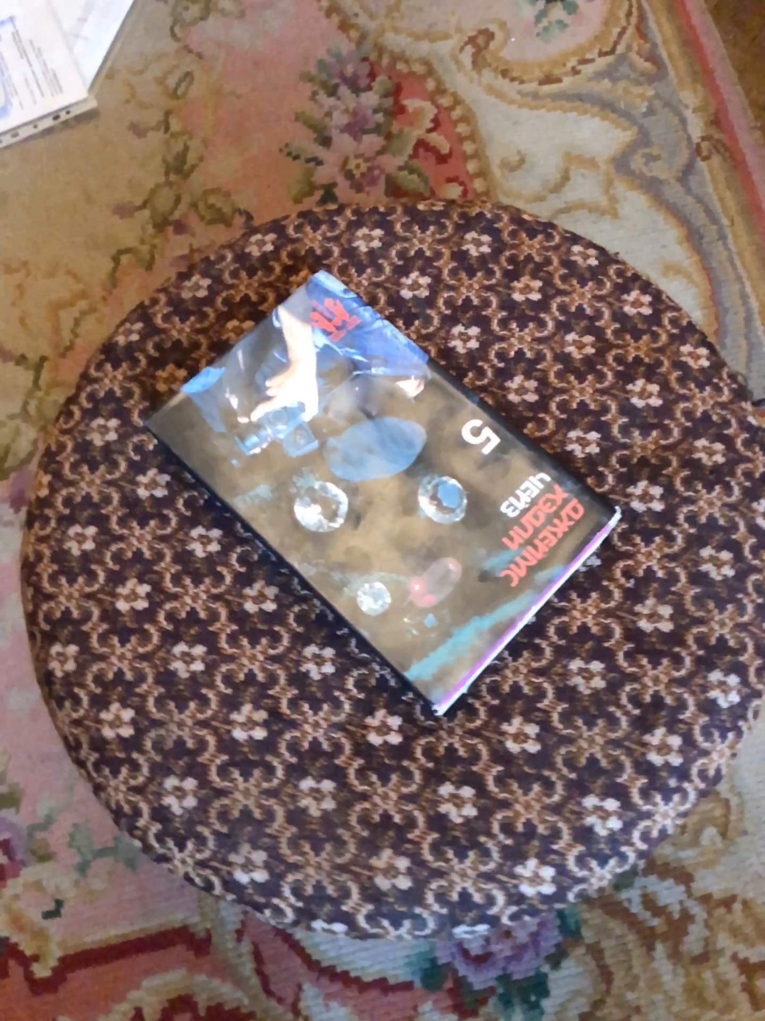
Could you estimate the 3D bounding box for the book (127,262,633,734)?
[{"bbox_3d":[-0.006,-0.017,0.413,0.140,0.020,0.205,-43,71,-12],"label":"book"}]
